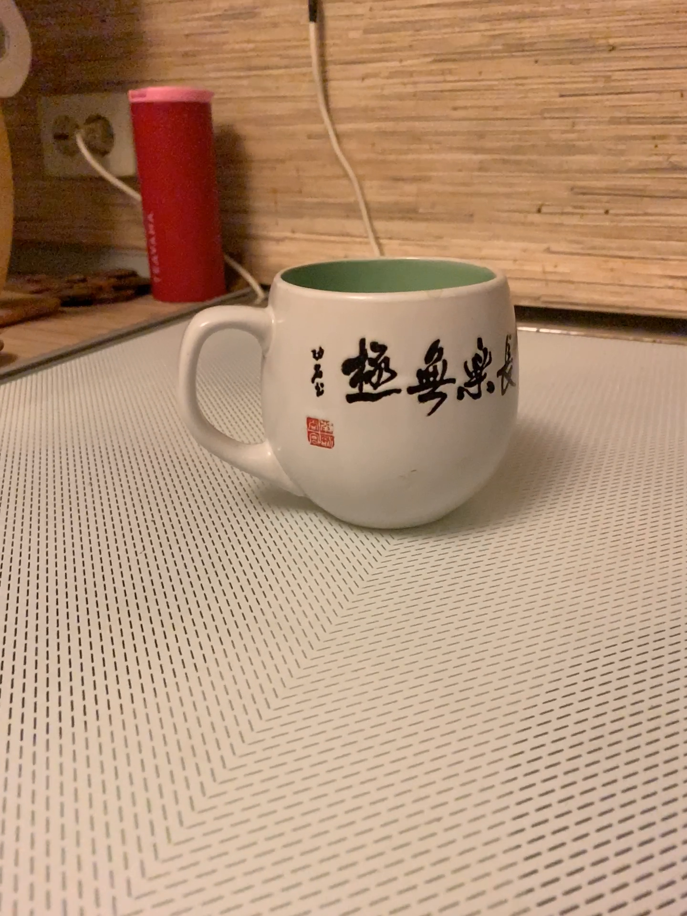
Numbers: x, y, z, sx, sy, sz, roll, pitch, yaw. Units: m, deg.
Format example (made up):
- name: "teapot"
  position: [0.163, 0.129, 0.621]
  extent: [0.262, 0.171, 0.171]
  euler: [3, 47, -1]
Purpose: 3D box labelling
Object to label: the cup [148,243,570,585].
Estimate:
- name: "cup"
  position: [0.001, -0.027, 0.269]
  extent: [0.124, 0.091, 0.088]
  euler: [-9, 24, -21]
